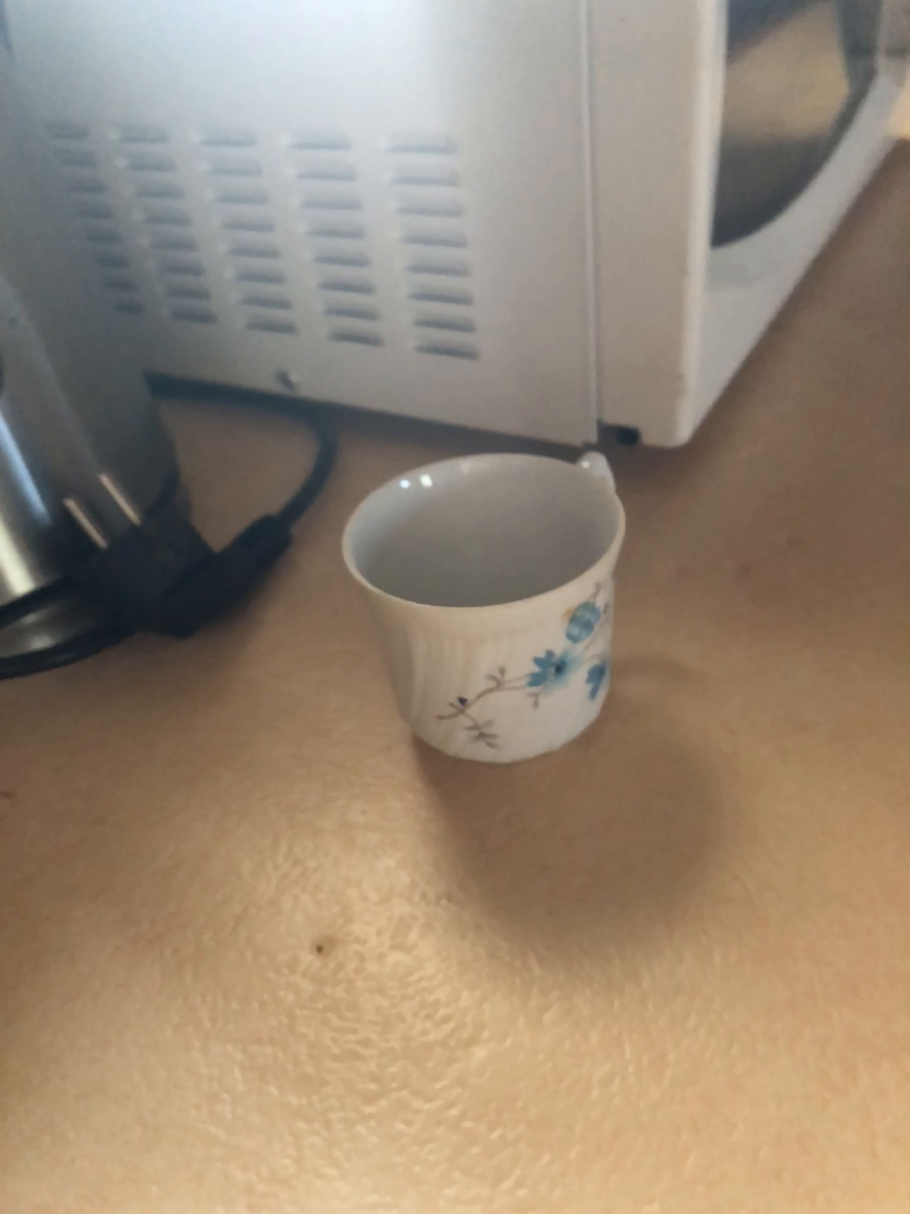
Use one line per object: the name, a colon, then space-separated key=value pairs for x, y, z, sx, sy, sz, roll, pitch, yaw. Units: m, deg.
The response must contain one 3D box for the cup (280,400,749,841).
cup: x=0.018 y=-0.003 z=0.255 sx=0.070 sy=0.050 sz=0.090 roll=23 pitch=47 yaw=35
